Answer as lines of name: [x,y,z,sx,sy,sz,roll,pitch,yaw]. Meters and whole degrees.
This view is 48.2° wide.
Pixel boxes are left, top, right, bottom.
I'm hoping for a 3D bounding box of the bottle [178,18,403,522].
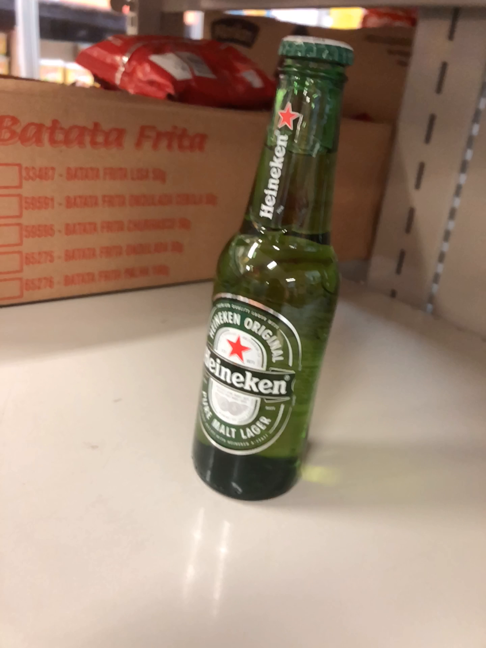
bottle: [0.016,-0.018,0.242,0.060,0.199,0.060,5,24,-2]
